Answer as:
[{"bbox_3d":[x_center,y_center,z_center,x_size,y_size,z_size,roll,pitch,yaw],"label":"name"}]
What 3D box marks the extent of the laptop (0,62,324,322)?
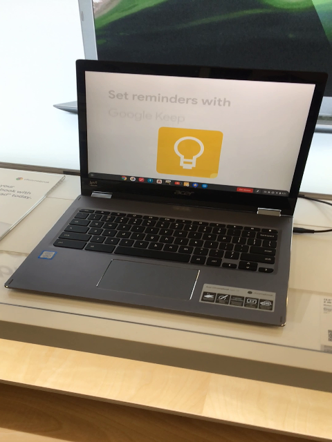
[{"bbox_3d":[-0.001,-0.052,0.540,0.324,0.203,0.265,8,40,9],"label":"laptop"}]
